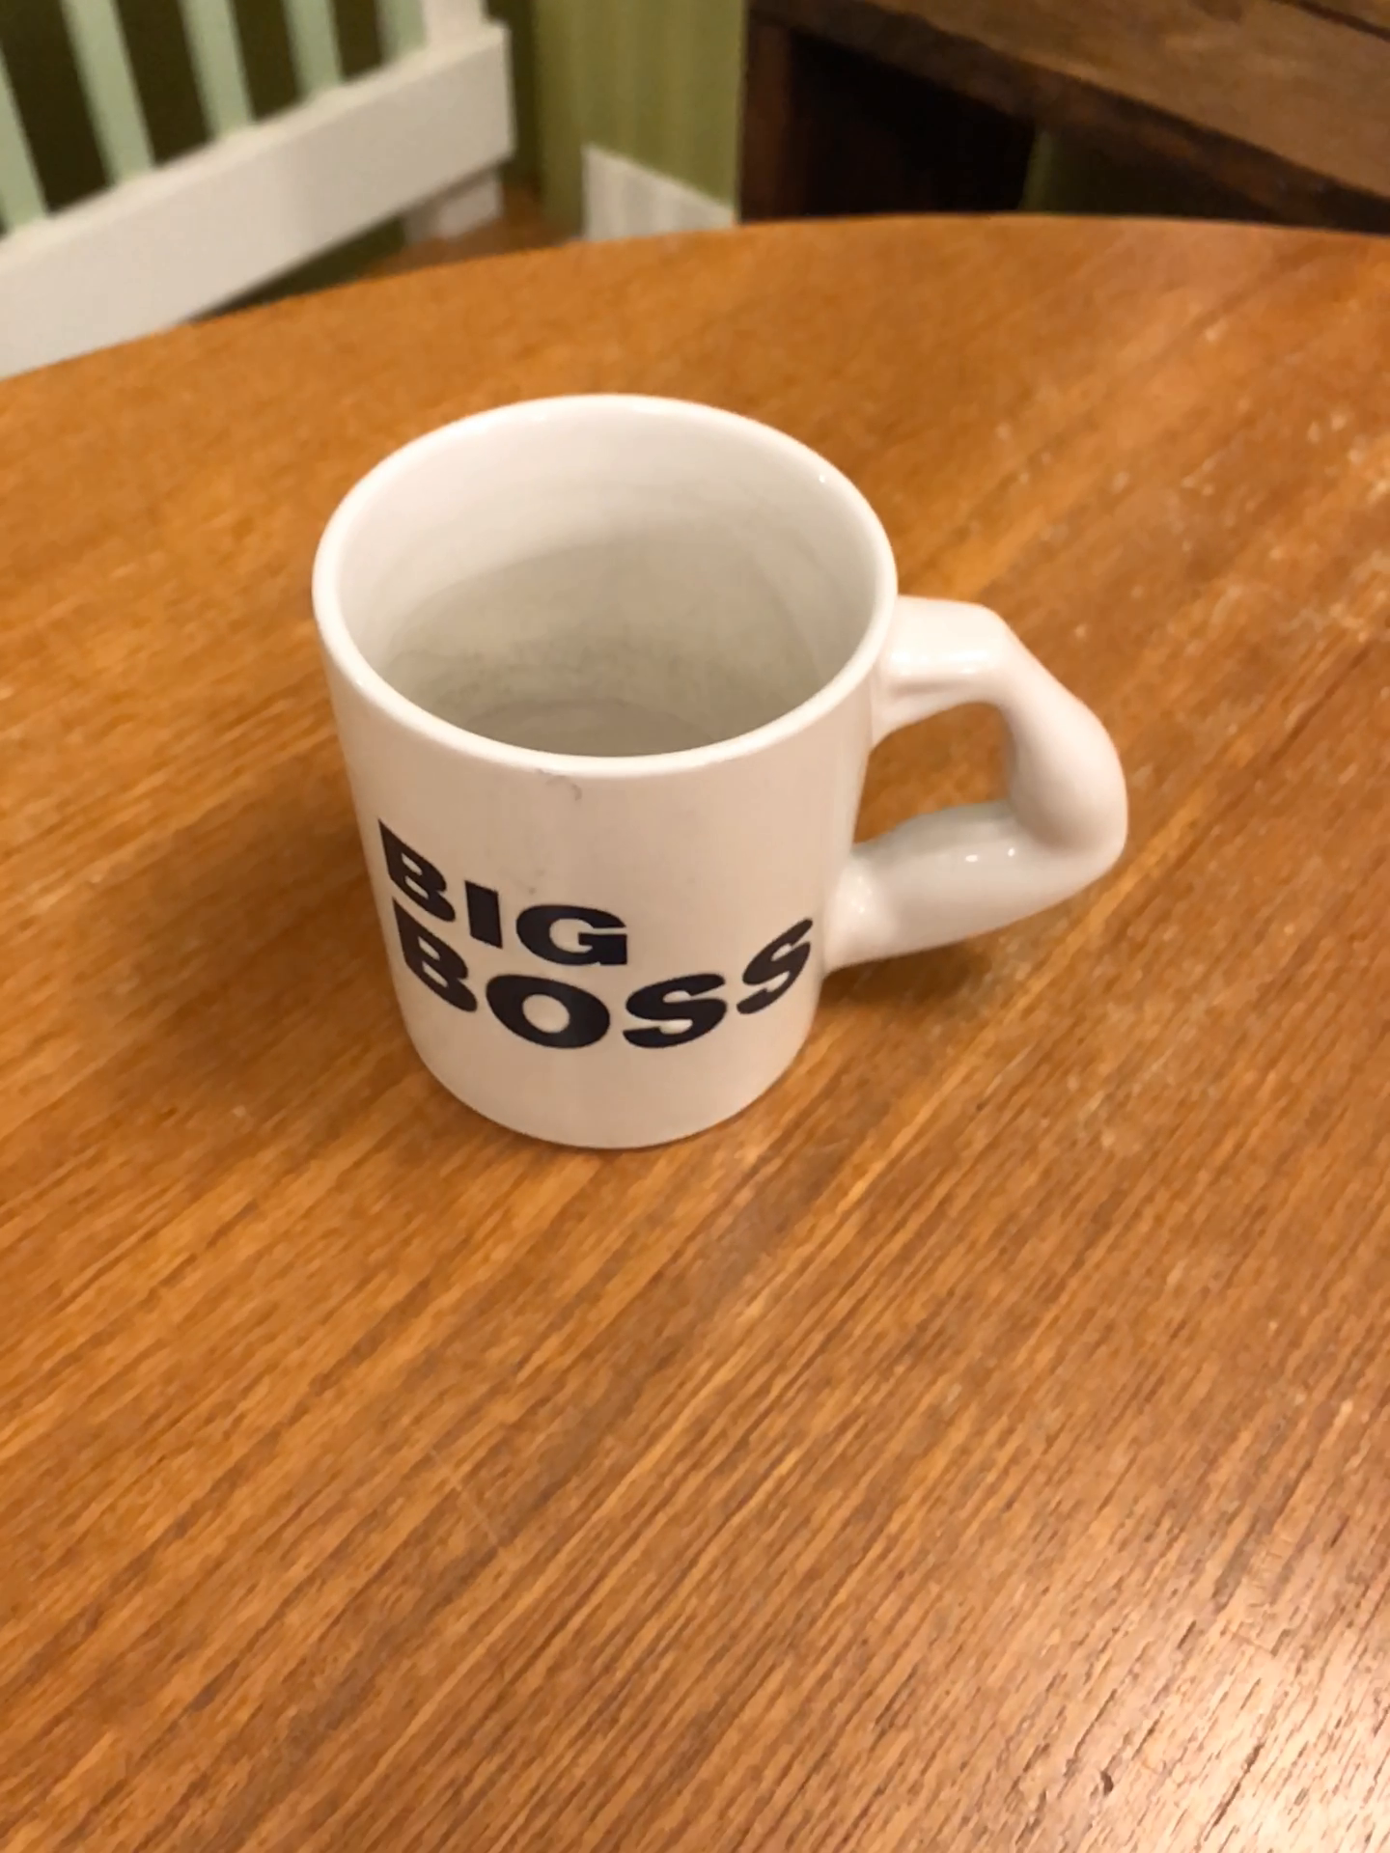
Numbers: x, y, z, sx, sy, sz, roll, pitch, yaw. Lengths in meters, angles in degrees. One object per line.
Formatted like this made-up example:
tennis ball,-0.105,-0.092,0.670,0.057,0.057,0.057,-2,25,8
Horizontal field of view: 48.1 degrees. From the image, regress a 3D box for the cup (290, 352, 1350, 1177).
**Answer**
cup,0.012,-0.026,0.266,0.138,0.099,0.088,-4,53,-6
